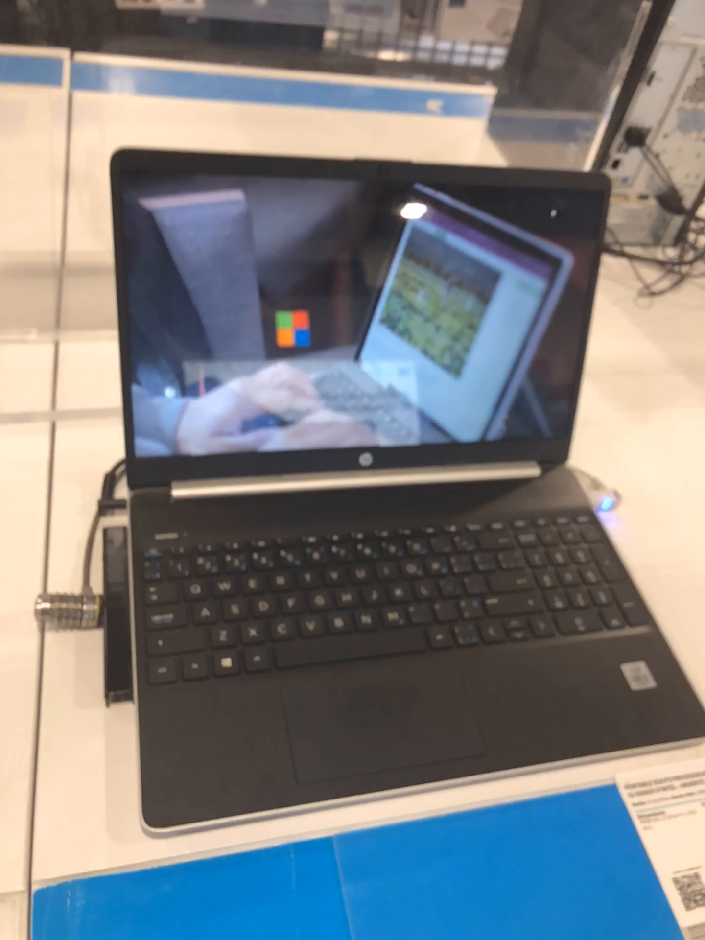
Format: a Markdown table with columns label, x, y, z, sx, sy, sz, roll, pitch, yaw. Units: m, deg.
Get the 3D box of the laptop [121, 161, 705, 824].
| label | x | y | z | sx | sy | sz | roll | pitch | yaw |
| --- | --- | --- | --- | --- | --- | --- | --- | --- | --- |
| laptop | 0.041 | -0.015 | 0.495 | 0.346 | 0.196 | 0.335 | -3 | 47 | -16 |
